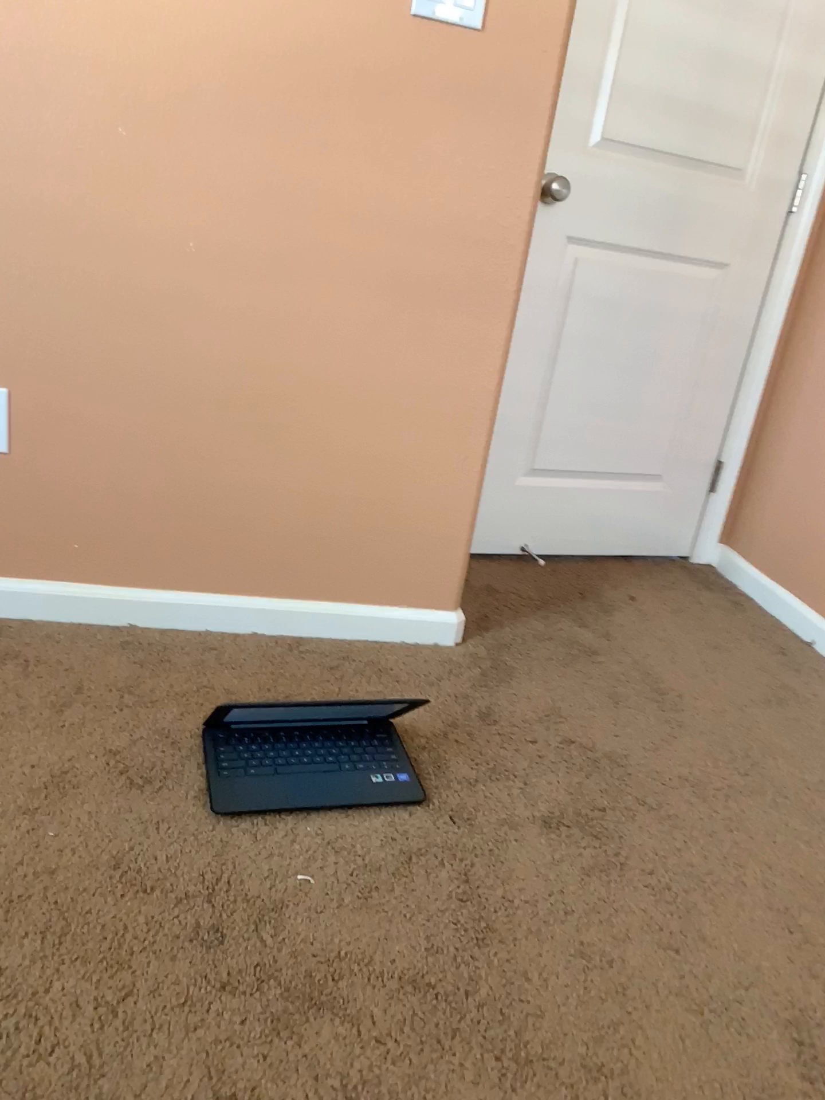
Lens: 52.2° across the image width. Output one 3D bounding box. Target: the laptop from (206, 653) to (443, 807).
[{"bbox_3d":[-0.135,0.248,1.202,0.289,0.127,0.195,3,19,-19],"label":"laptop"}]
